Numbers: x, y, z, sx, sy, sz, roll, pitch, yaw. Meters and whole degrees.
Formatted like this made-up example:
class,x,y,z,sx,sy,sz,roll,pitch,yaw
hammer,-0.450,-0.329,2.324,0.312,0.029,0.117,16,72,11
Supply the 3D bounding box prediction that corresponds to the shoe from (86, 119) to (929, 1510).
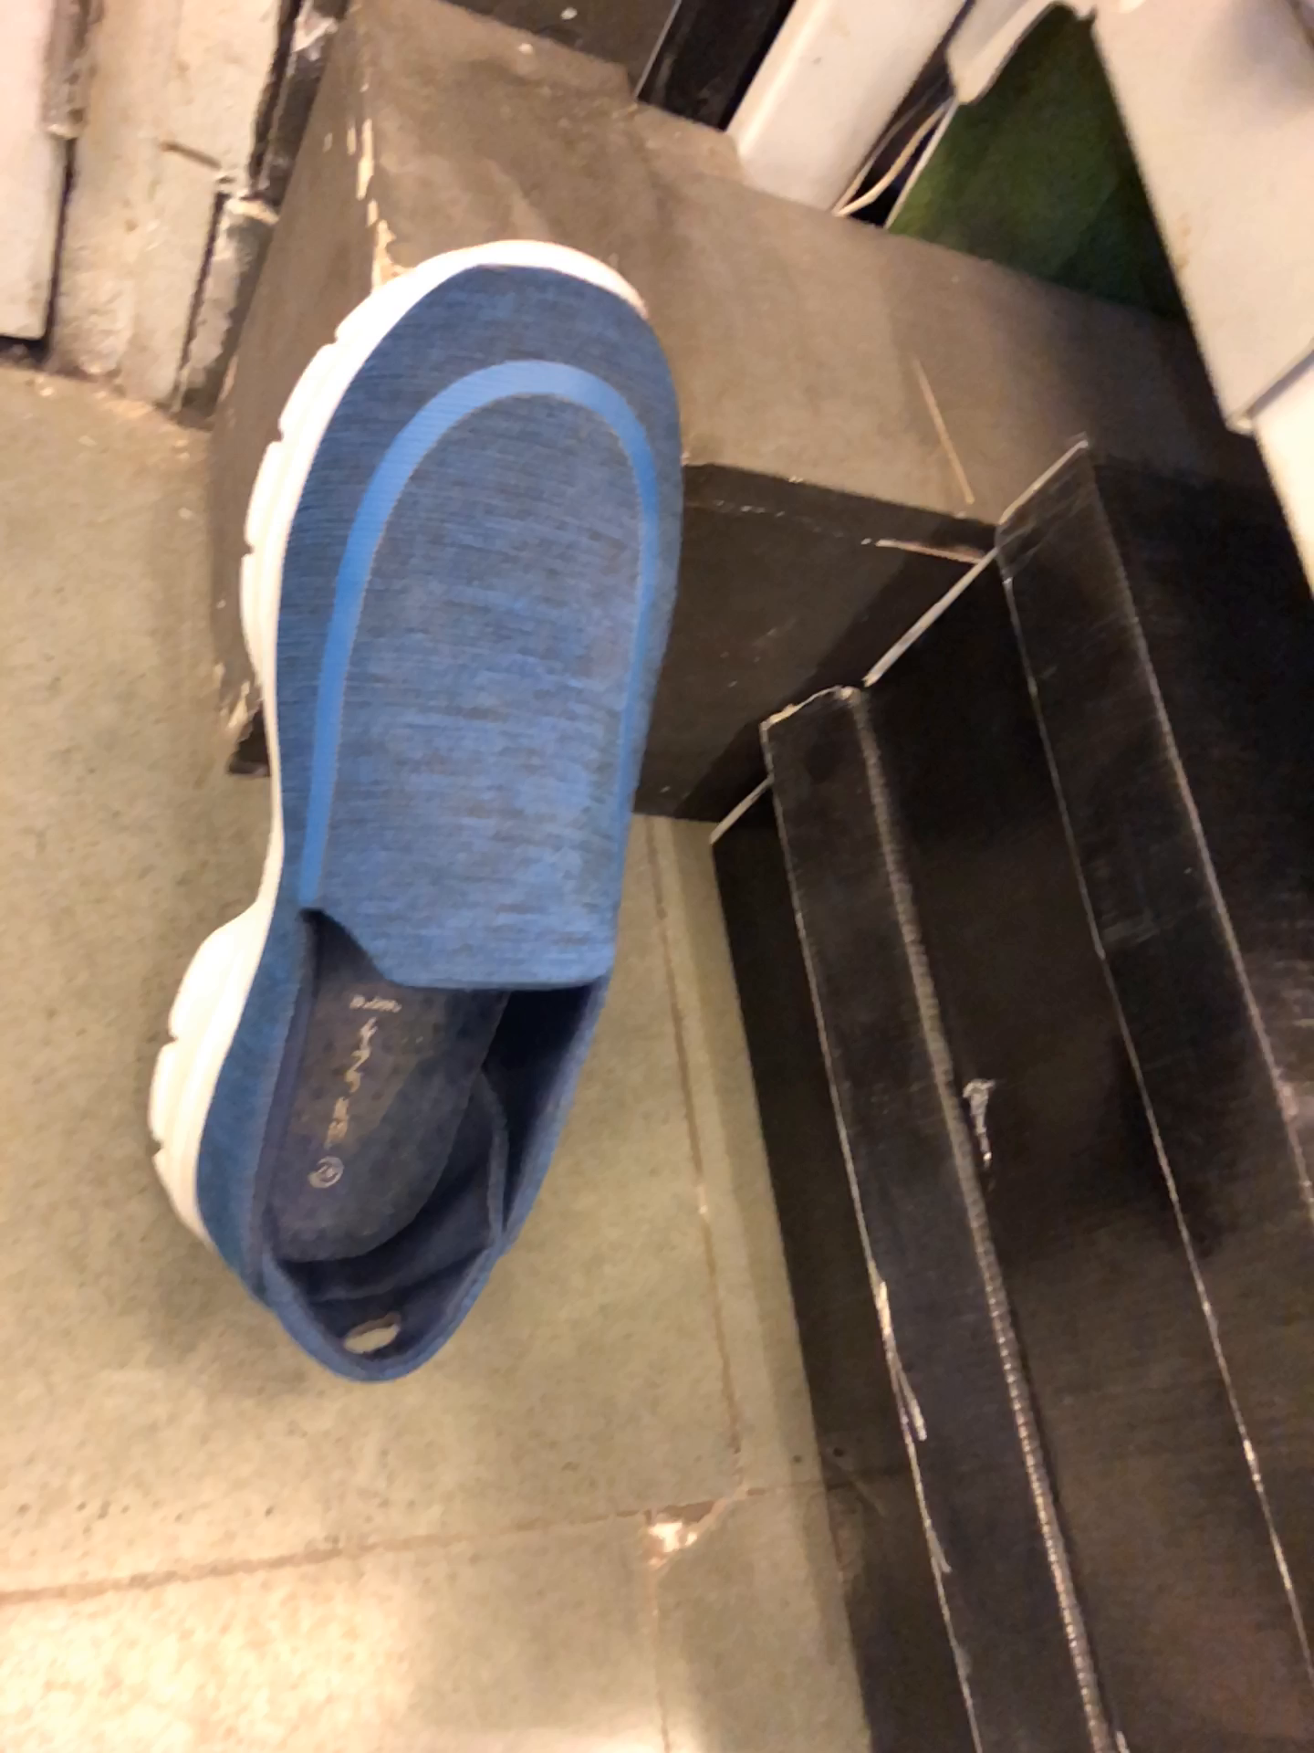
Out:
class,x,y,z,sx,sy,sz,roll,pitch,yaw
shoe,-0.048,-0.007,0.334,0.111,0.271,0.095,6,18,-30
